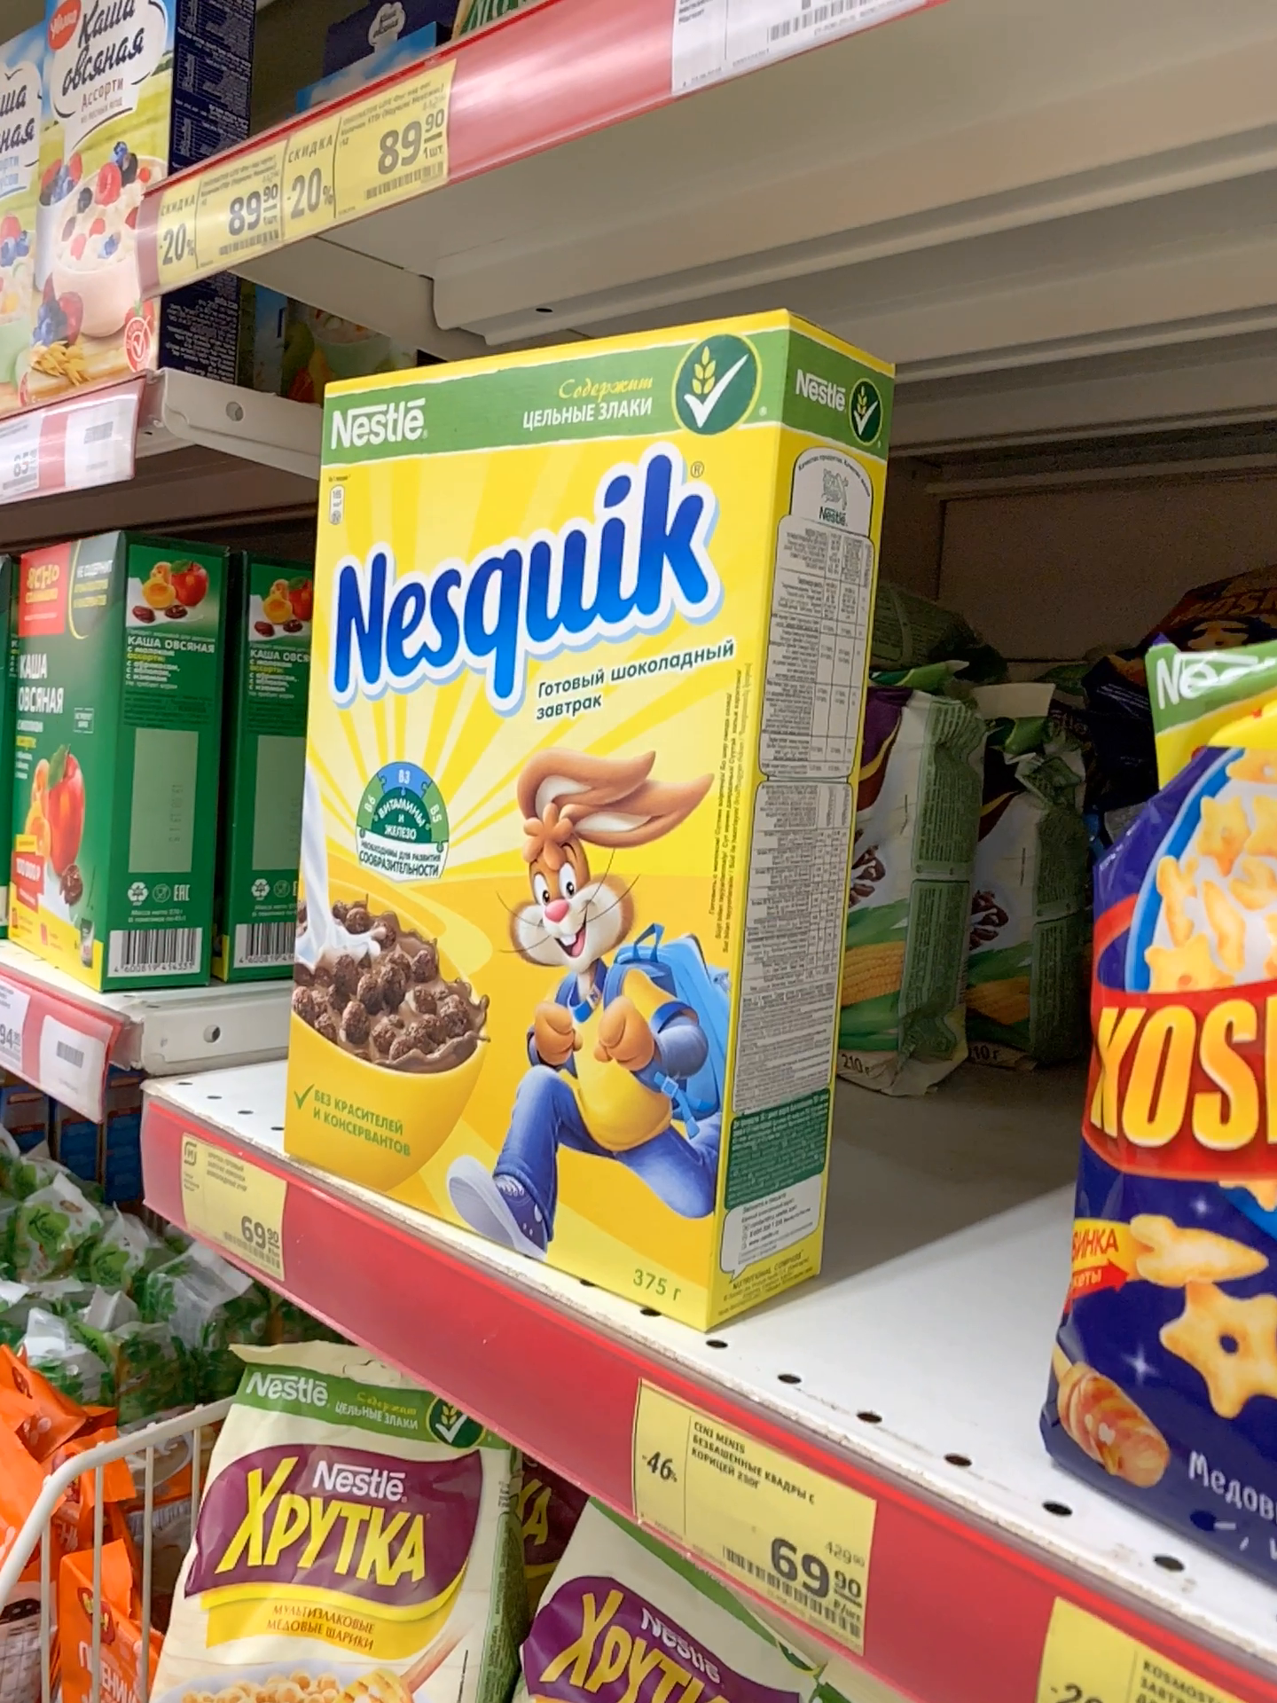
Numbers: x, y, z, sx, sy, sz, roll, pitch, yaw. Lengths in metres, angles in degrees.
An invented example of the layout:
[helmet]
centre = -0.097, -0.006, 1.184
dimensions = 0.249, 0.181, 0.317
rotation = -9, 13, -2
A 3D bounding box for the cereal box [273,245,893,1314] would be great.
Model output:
[cereal box]
centre = -0.029, -0.026, 0.415
dimensions = 0.190, 0.270, 0.060
rotation = 7, 6, 39
